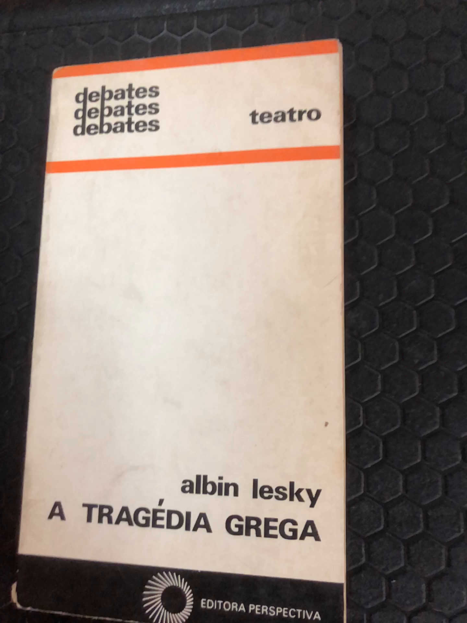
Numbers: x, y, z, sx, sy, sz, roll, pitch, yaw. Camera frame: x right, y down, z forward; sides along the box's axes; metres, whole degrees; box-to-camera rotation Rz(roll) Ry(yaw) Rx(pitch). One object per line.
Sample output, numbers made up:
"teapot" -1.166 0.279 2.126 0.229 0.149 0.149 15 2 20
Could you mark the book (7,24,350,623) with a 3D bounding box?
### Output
"book" -0.017 0.002 0.192 0.114 0.020 0.207 0 82 10
